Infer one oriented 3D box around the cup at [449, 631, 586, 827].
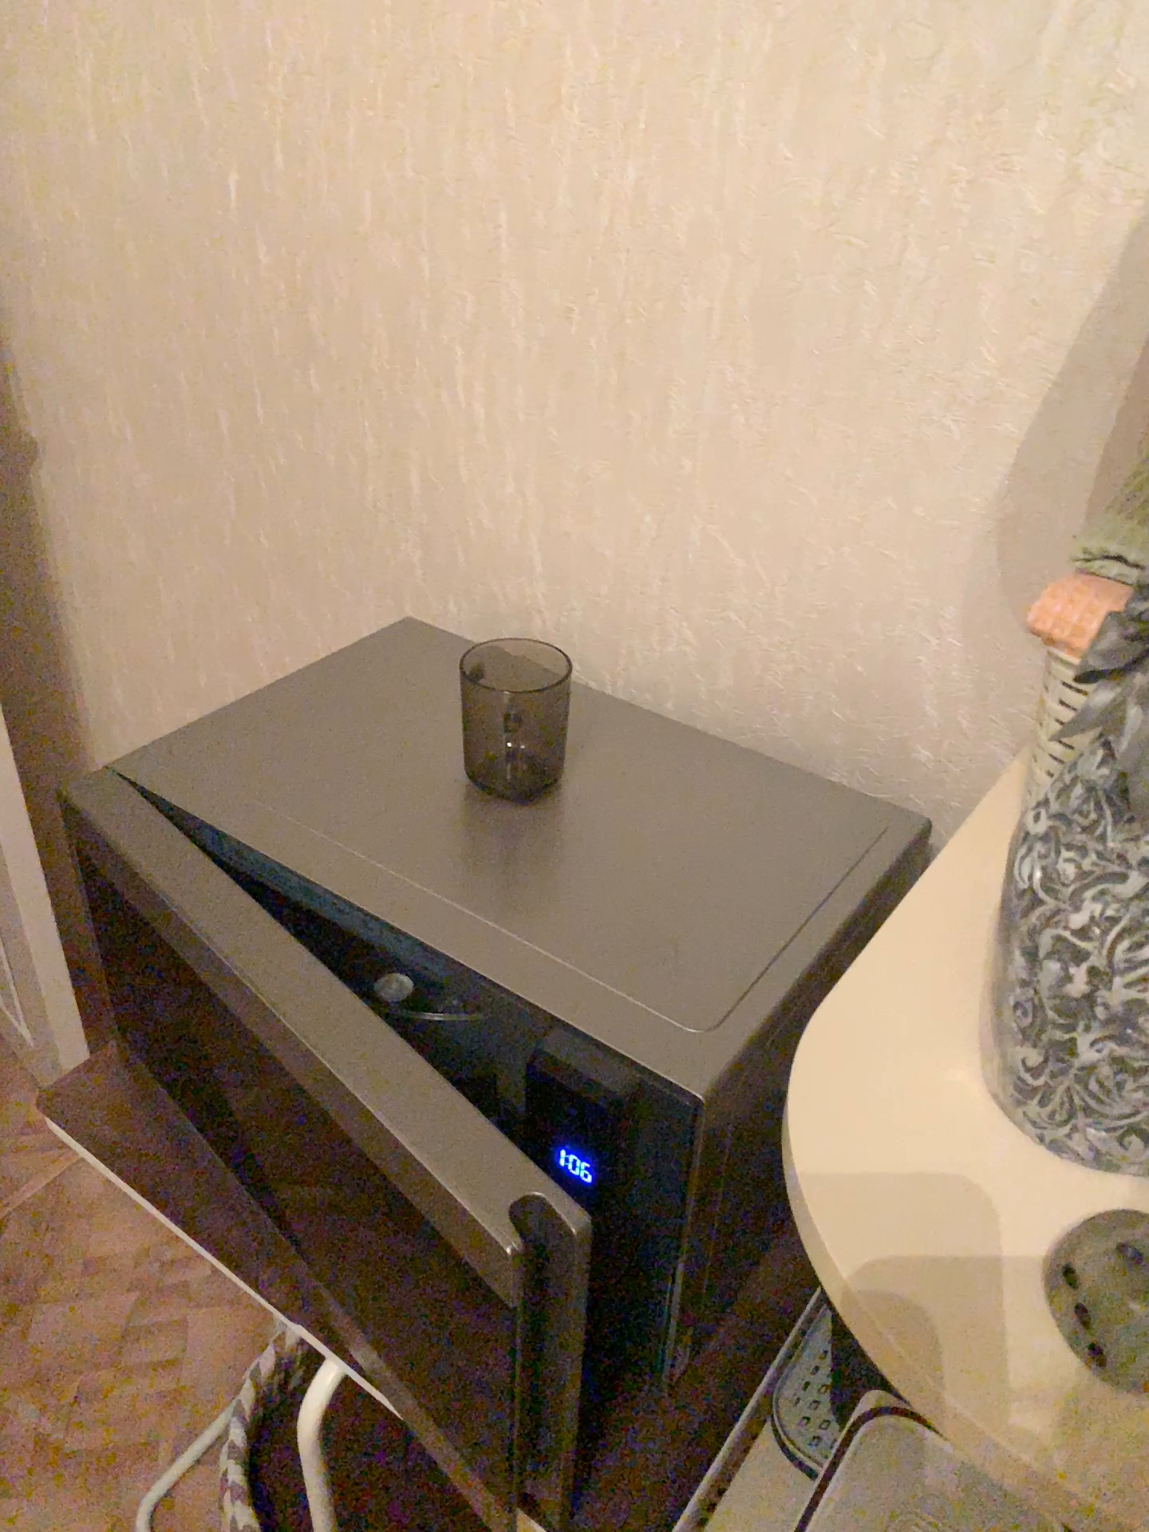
[{"bbox_3d":[-0.037,-0.026,0.753,0.080,0.079,0.111,0,32,-3],"label":"cup"}]
